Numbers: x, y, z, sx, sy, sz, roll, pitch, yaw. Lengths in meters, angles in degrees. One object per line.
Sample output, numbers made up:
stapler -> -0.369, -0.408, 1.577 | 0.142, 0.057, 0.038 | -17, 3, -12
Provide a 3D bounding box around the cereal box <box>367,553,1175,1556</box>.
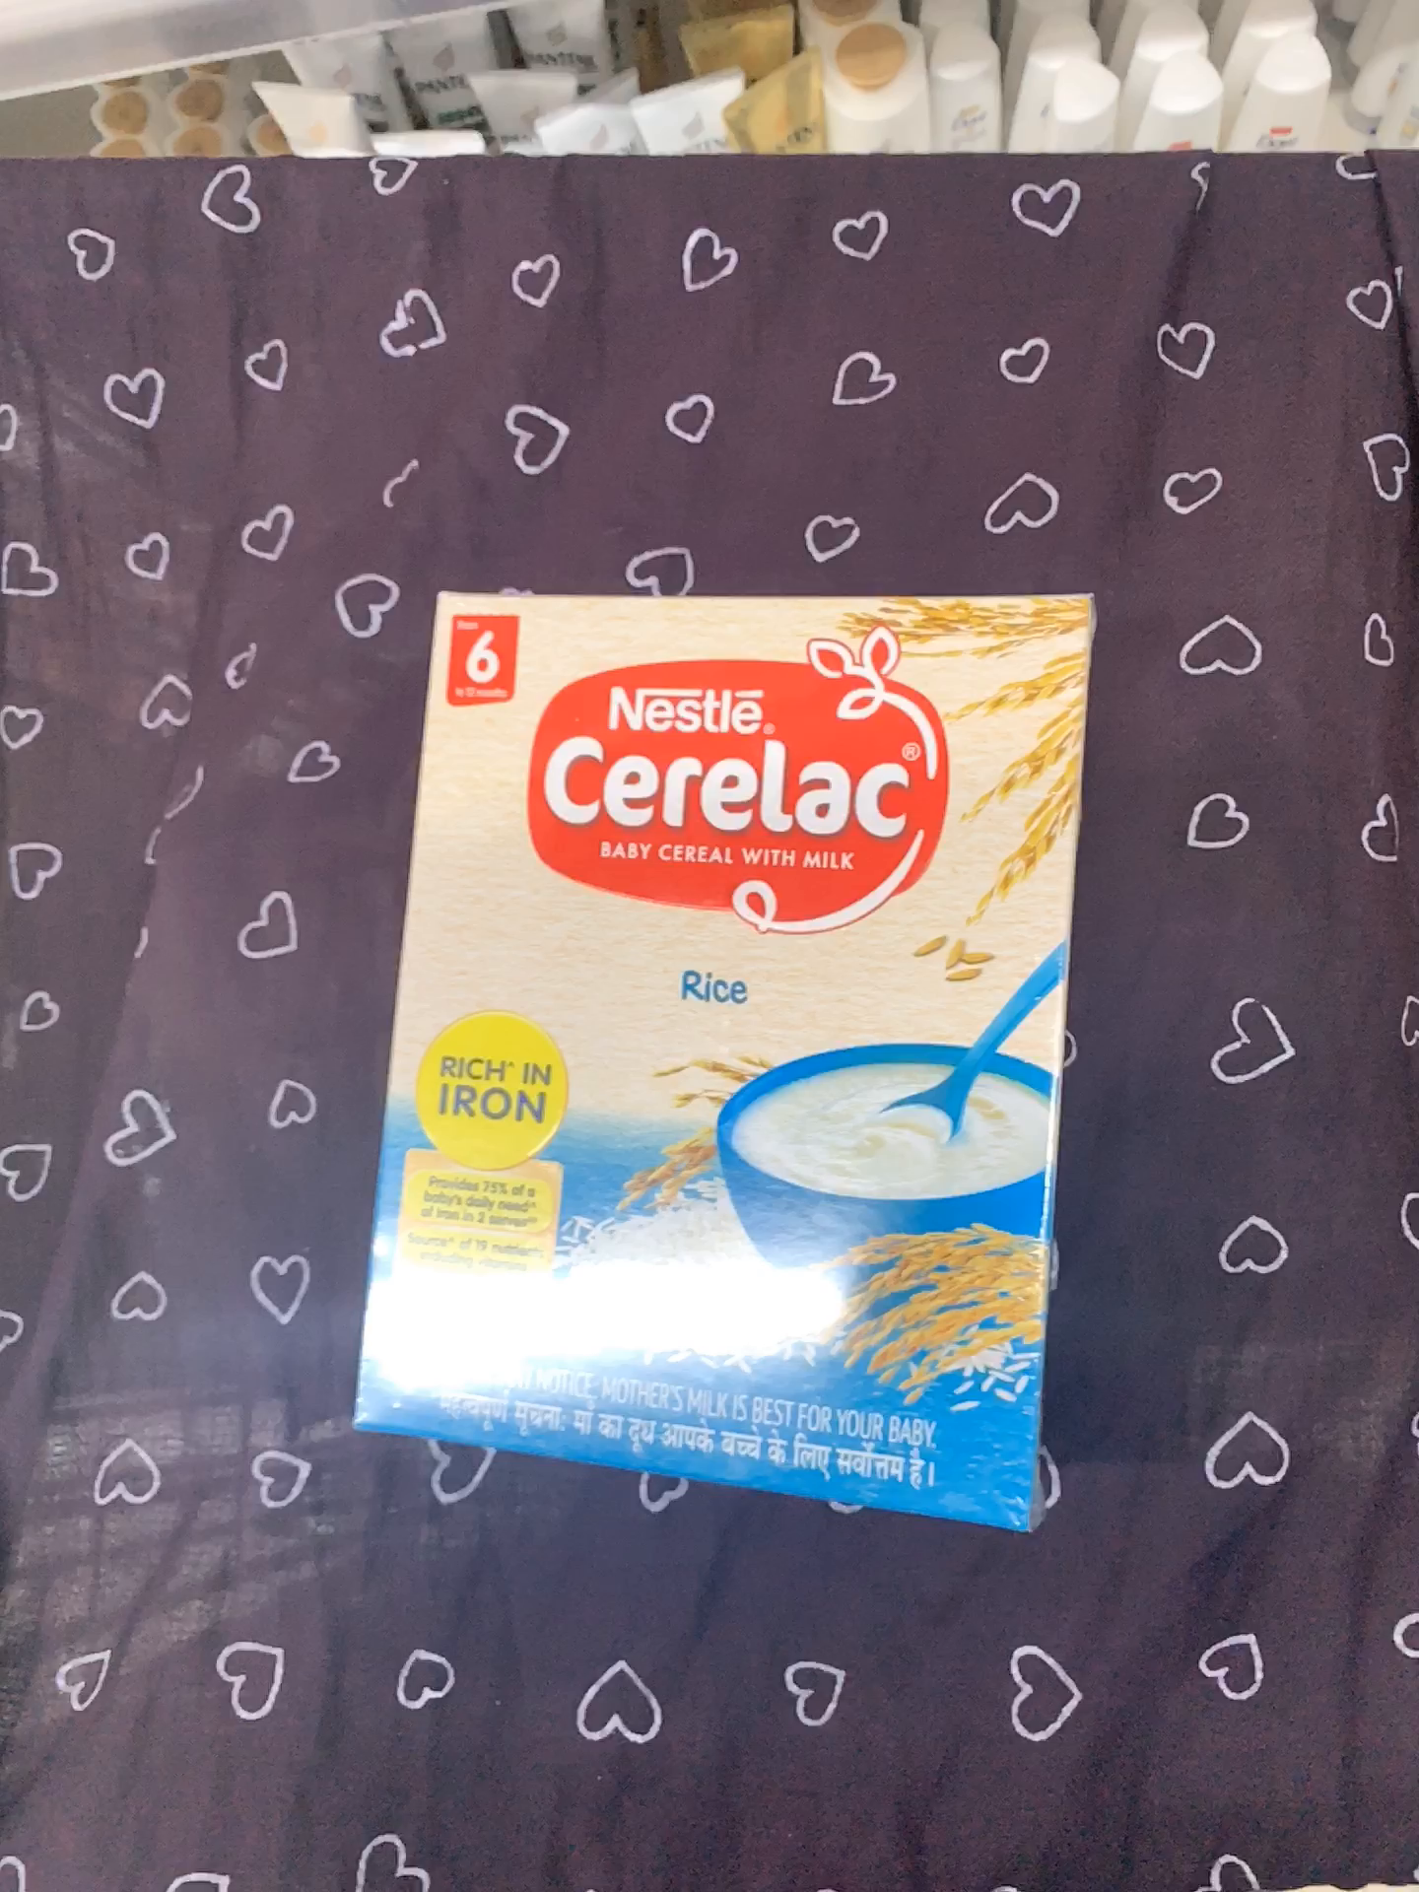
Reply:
cereal box -> 0.015, 0.017, 0.330 | 0.160, 0.040, 0.200 | 3, 84, 13
